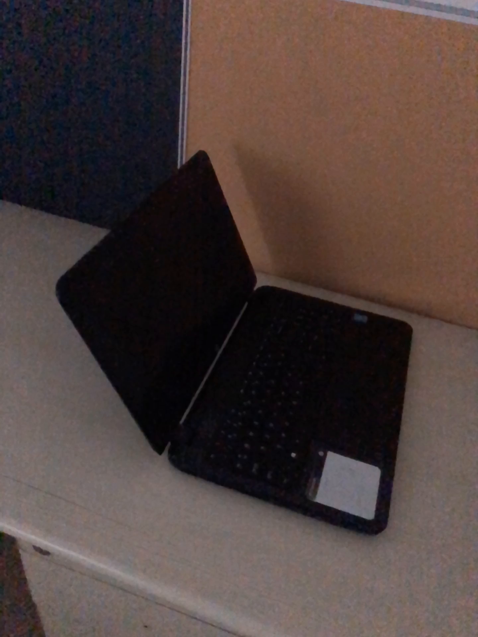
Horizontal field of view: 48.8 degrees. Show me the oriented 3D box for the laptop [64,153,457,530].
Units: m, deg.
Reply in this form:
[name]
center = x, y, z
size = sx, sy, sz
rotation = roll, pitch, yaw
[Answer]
[laptop]
center = 0.049, -0.009, 0.655
size = 0.351, 0.205, 0.358
rotation = 16, 41, 12
